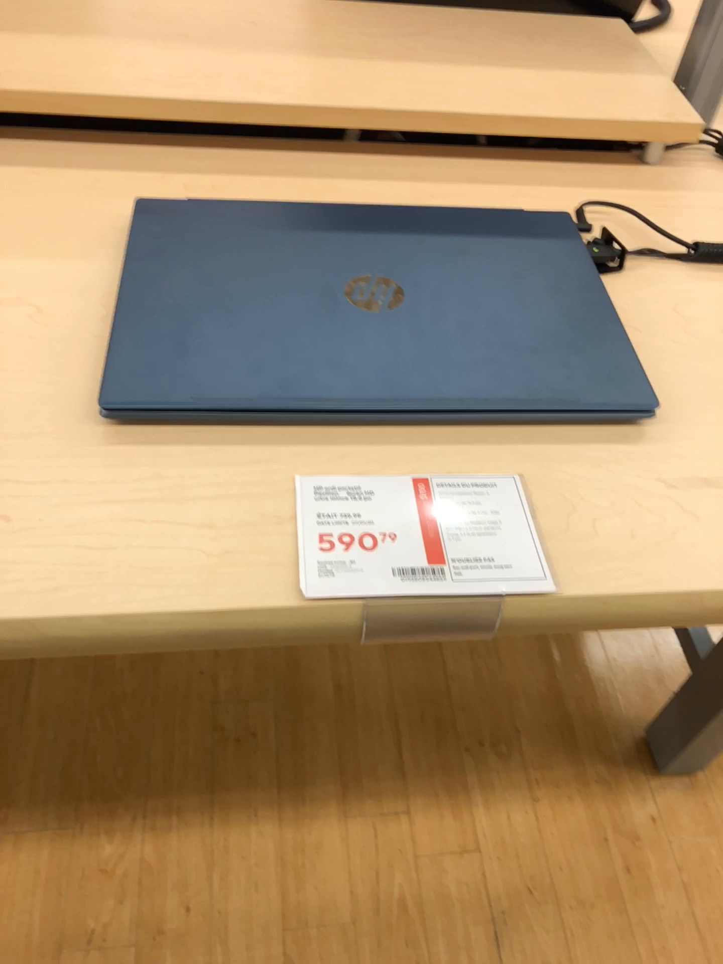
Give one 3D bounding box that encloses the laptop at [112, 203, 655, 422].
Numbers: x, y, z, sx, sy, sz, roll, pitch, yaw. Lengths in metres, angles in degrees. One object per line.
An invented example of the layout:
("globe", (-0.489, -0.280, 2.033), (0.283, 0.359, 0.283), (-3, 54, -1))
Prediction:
("laptop", (0.009, -0.130, 0.583), (0.352, 0.012, 0.221), (-1, 52, -6))
